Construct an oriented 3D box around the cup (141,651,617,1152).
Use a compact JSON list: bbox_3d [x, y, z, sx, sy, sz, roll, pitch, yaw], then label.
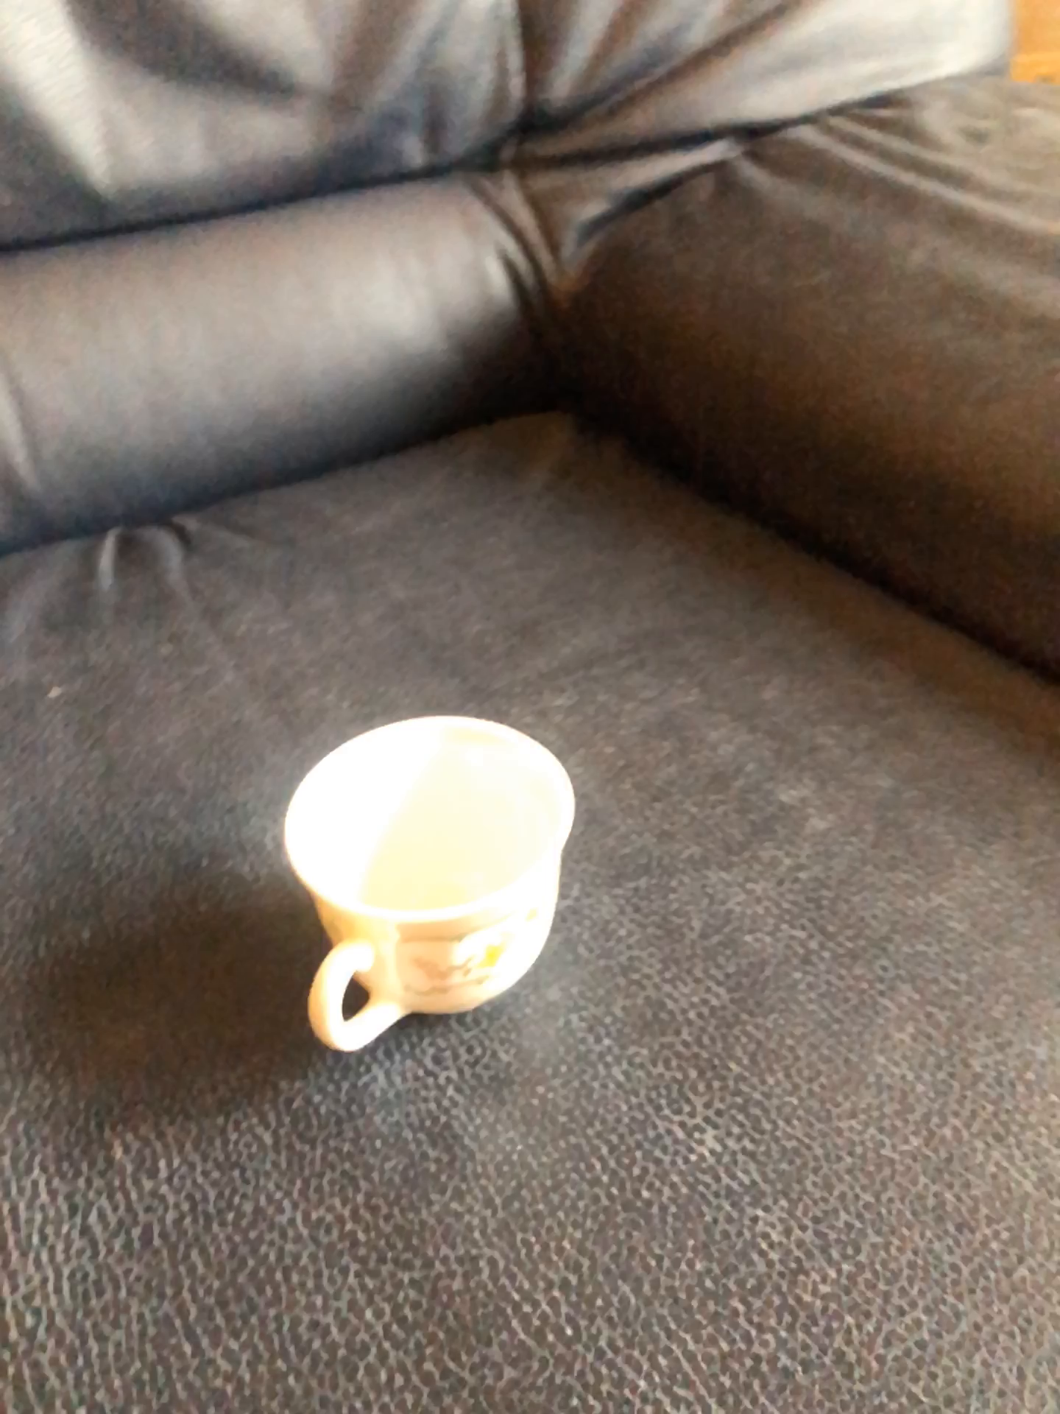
[{"bbox_3d":[-0.028,0.038,0.266,0.069,0.050,0.084,15,41,17],"label":"cup"}]
